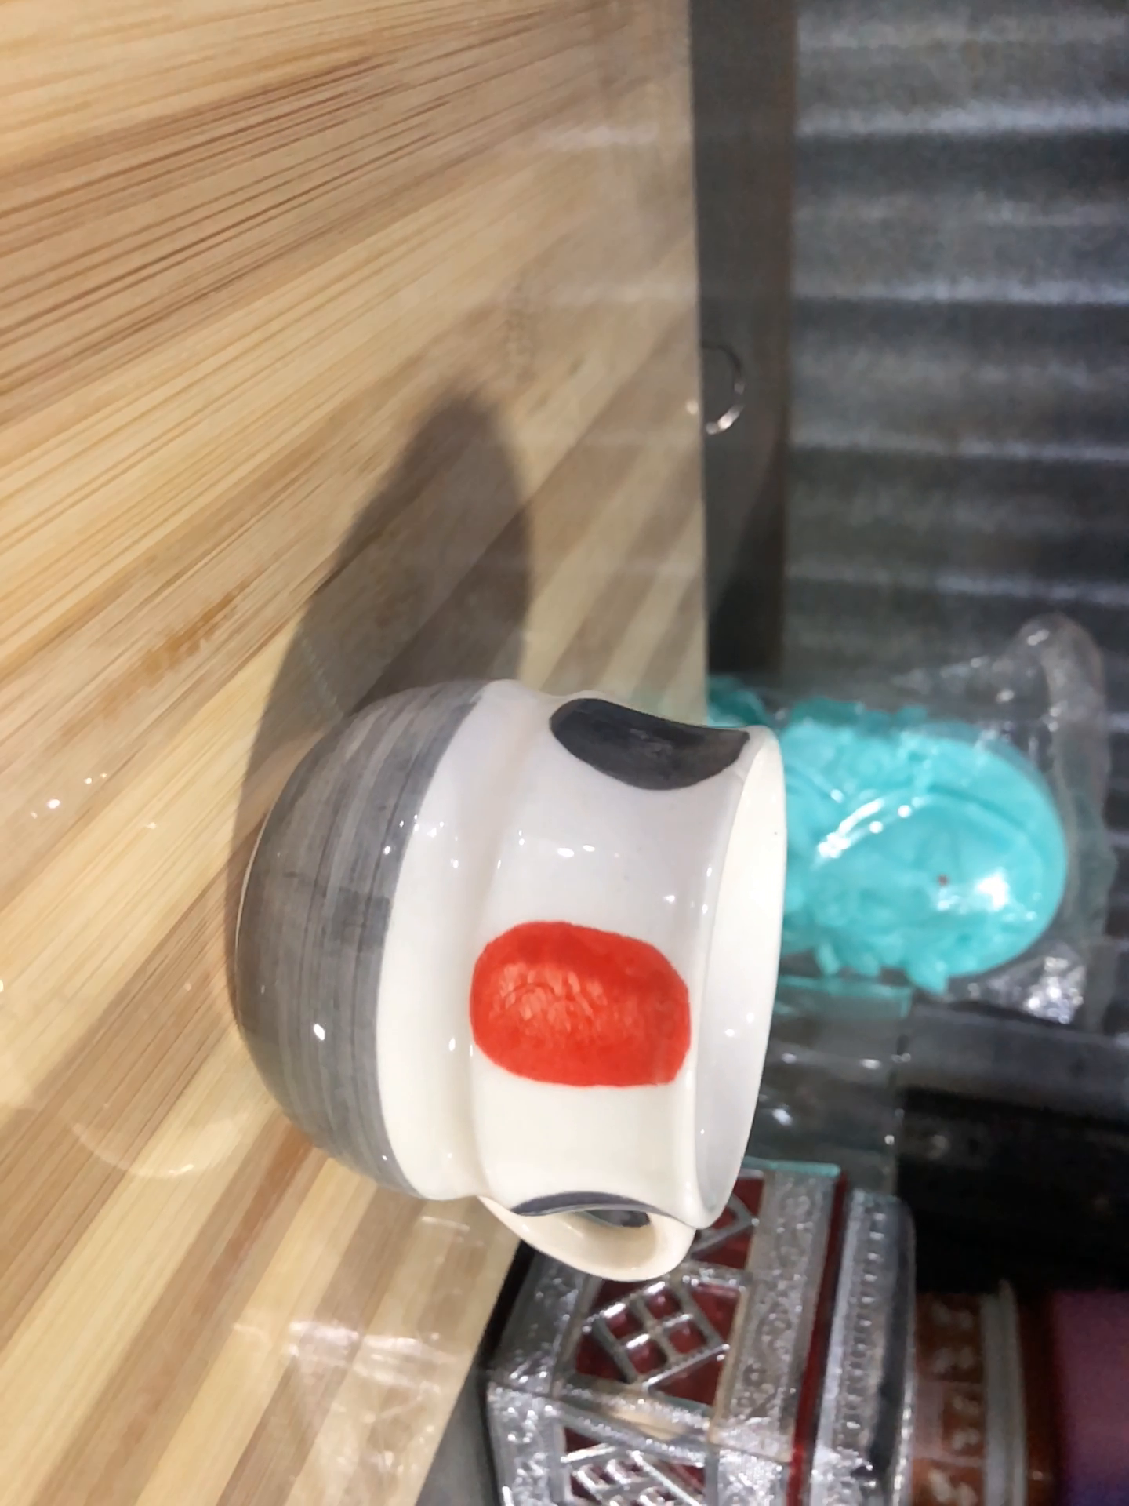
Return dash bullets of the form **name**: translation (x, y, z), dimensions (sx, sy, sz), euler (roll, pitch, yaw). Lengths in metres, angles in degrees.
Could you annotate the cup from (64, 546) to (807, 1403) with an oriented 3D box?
- **cup**: translation (-0.004, 0.030, 0.162), dimensions (0.090, 0.060, 0.060), euler (79, 23, -46)
